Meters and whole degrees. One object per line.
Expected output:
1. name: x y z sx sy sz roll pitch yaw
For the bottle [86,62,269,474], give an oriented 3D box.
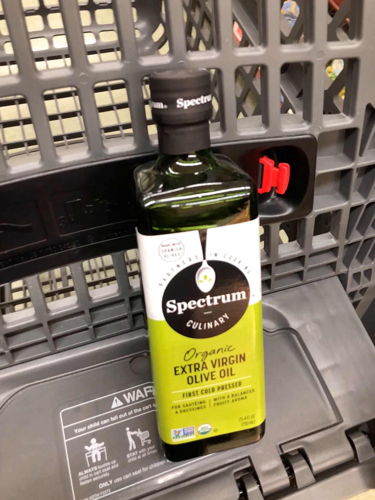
1. bottle: -0.002 0.020 0.268 0.080 0.250 0.076 -4 27 2
